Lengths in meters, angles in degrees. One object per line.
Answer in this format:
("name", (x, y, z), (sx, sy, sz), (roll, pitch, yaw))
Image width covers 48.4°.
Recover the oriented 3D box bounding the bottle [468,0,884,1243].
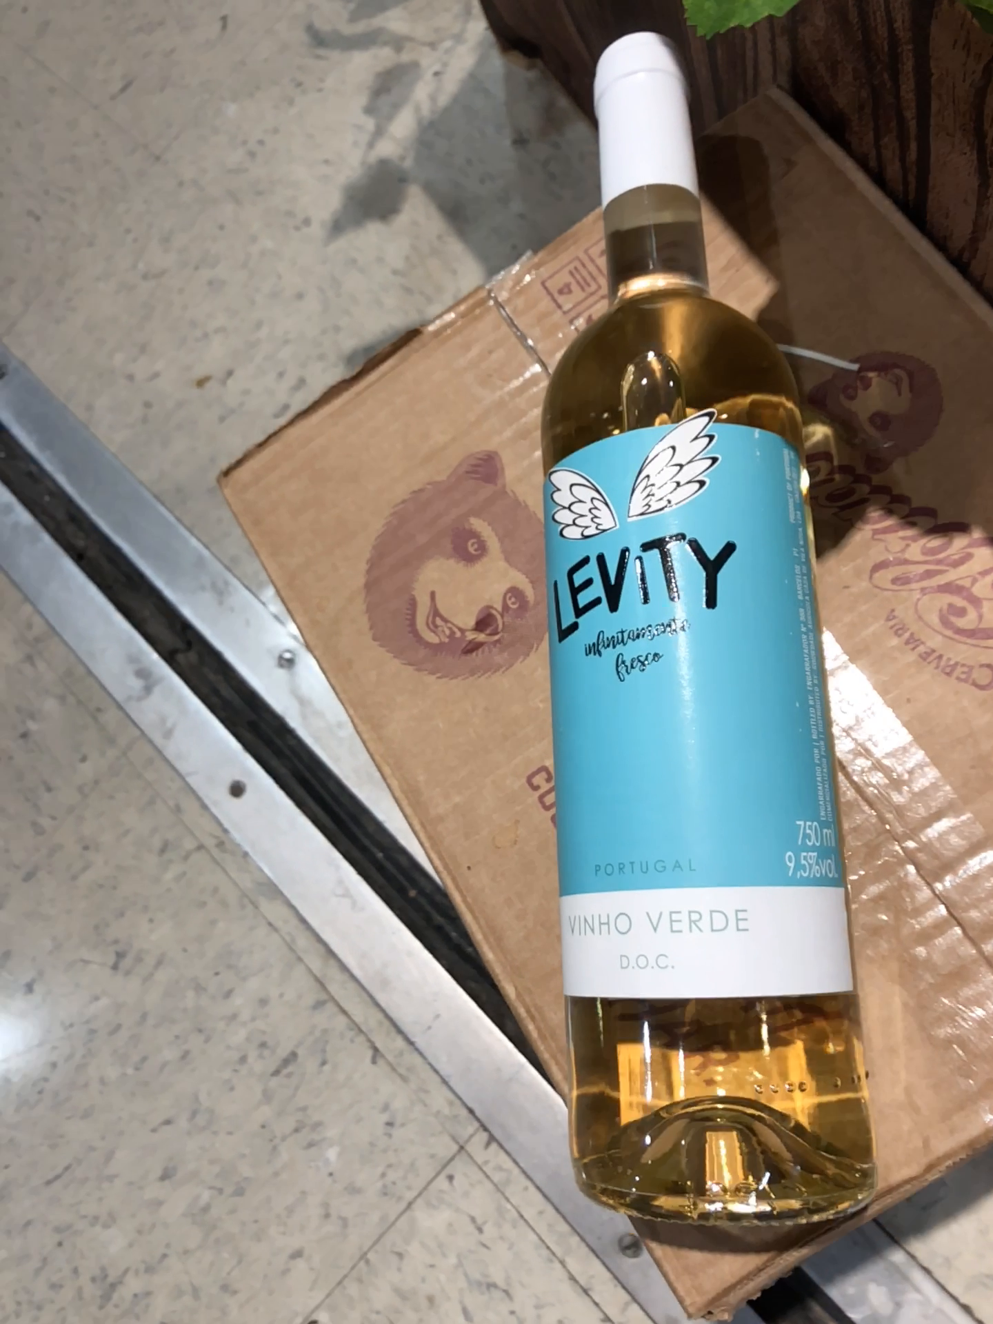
("bottle", (0.042, -0.039, 0.297), (0.080, 0.050, 0.340), (-5, 77, 15))
